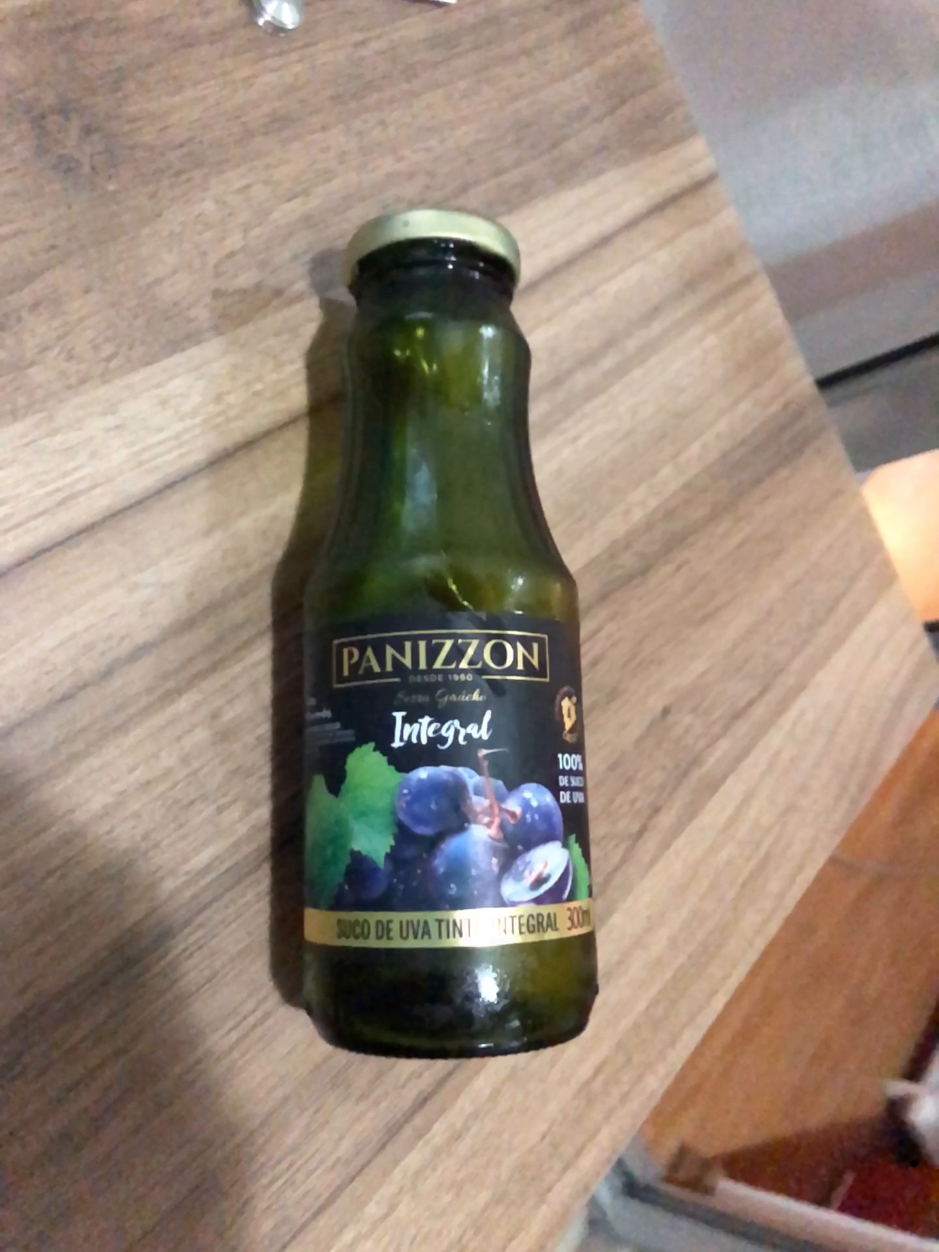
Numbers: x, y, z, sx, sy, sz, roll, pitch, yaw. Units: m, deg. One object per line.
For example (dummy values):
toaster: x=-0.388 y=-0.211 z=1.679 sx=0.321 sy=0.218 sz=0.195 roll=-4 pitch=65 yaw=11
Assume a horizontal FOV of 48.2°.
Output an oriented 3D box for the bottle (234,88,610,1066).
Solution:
bottle: x=-0.010 y=-0.012 z=0.246 sx=0.070 sy=0.070 sz=0.200 roll=-1 pitch=81 yaw=0
